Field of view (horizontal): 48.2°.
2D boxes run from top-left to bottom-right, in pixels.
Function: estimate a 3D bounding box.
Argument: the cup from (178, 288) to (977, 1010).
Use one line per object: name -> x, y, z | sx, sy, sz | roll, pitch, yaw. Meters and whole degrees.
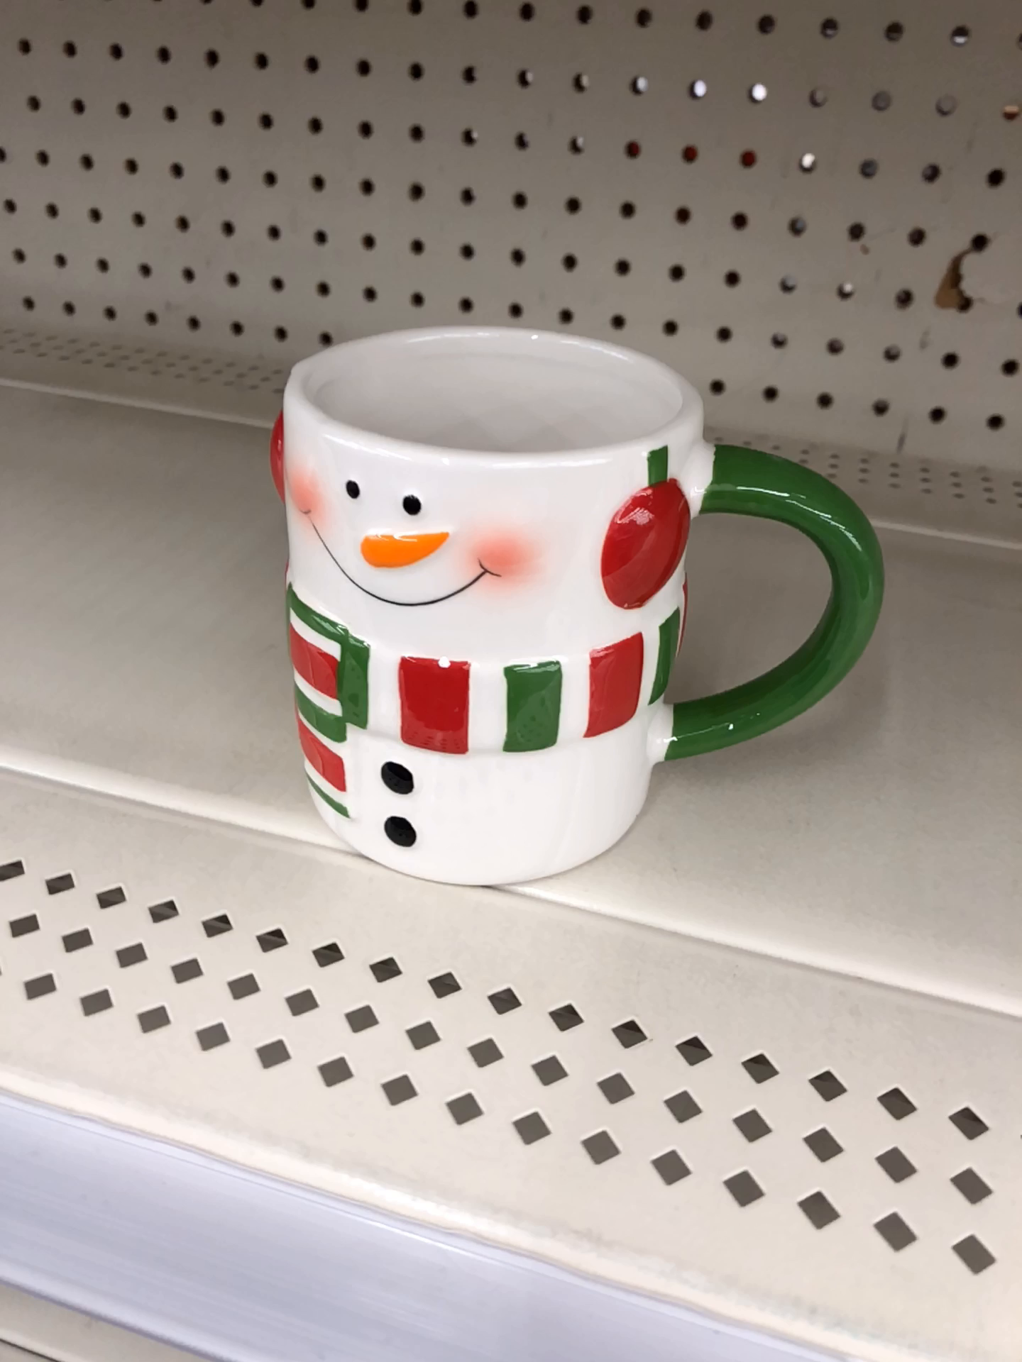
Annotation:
cup -> 0.014, -0.013, 0.250 | 0.130, 0.110, 0.090 | 9, 33, 9
